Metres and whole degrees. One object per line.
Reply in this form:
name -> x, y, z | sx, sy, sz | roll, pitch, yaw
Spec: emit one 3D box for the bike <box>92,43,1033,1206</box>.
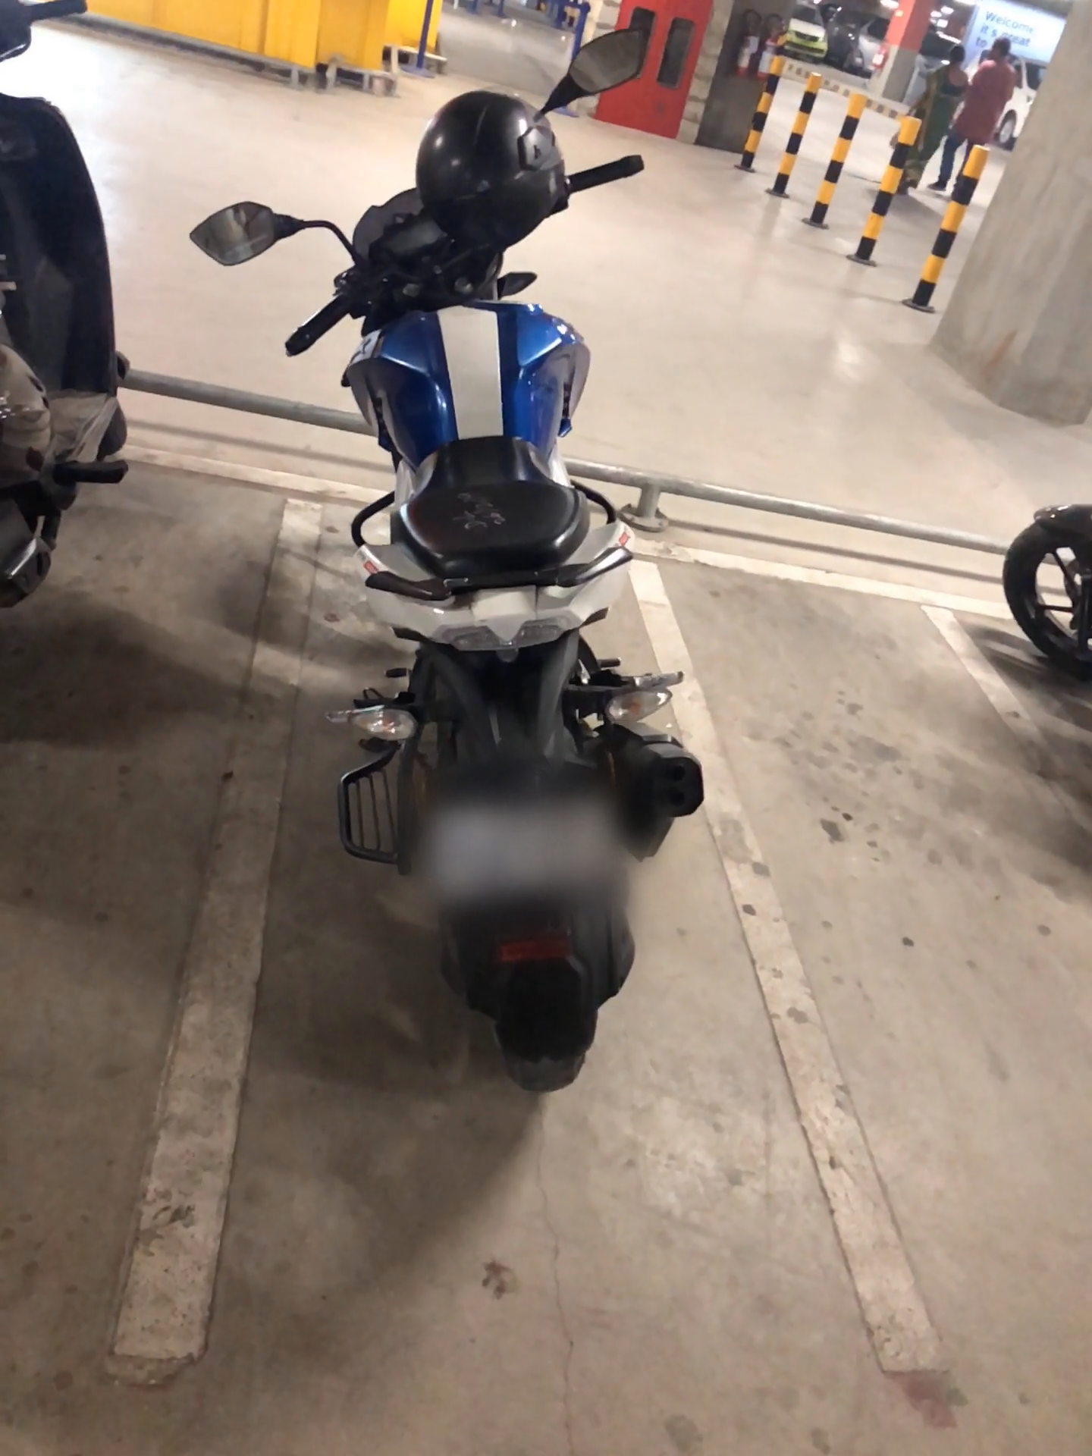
bike -> -0.272, -0.375, 2.134 | 0.806, 1.162, 1.994 | 5, 33, -17
